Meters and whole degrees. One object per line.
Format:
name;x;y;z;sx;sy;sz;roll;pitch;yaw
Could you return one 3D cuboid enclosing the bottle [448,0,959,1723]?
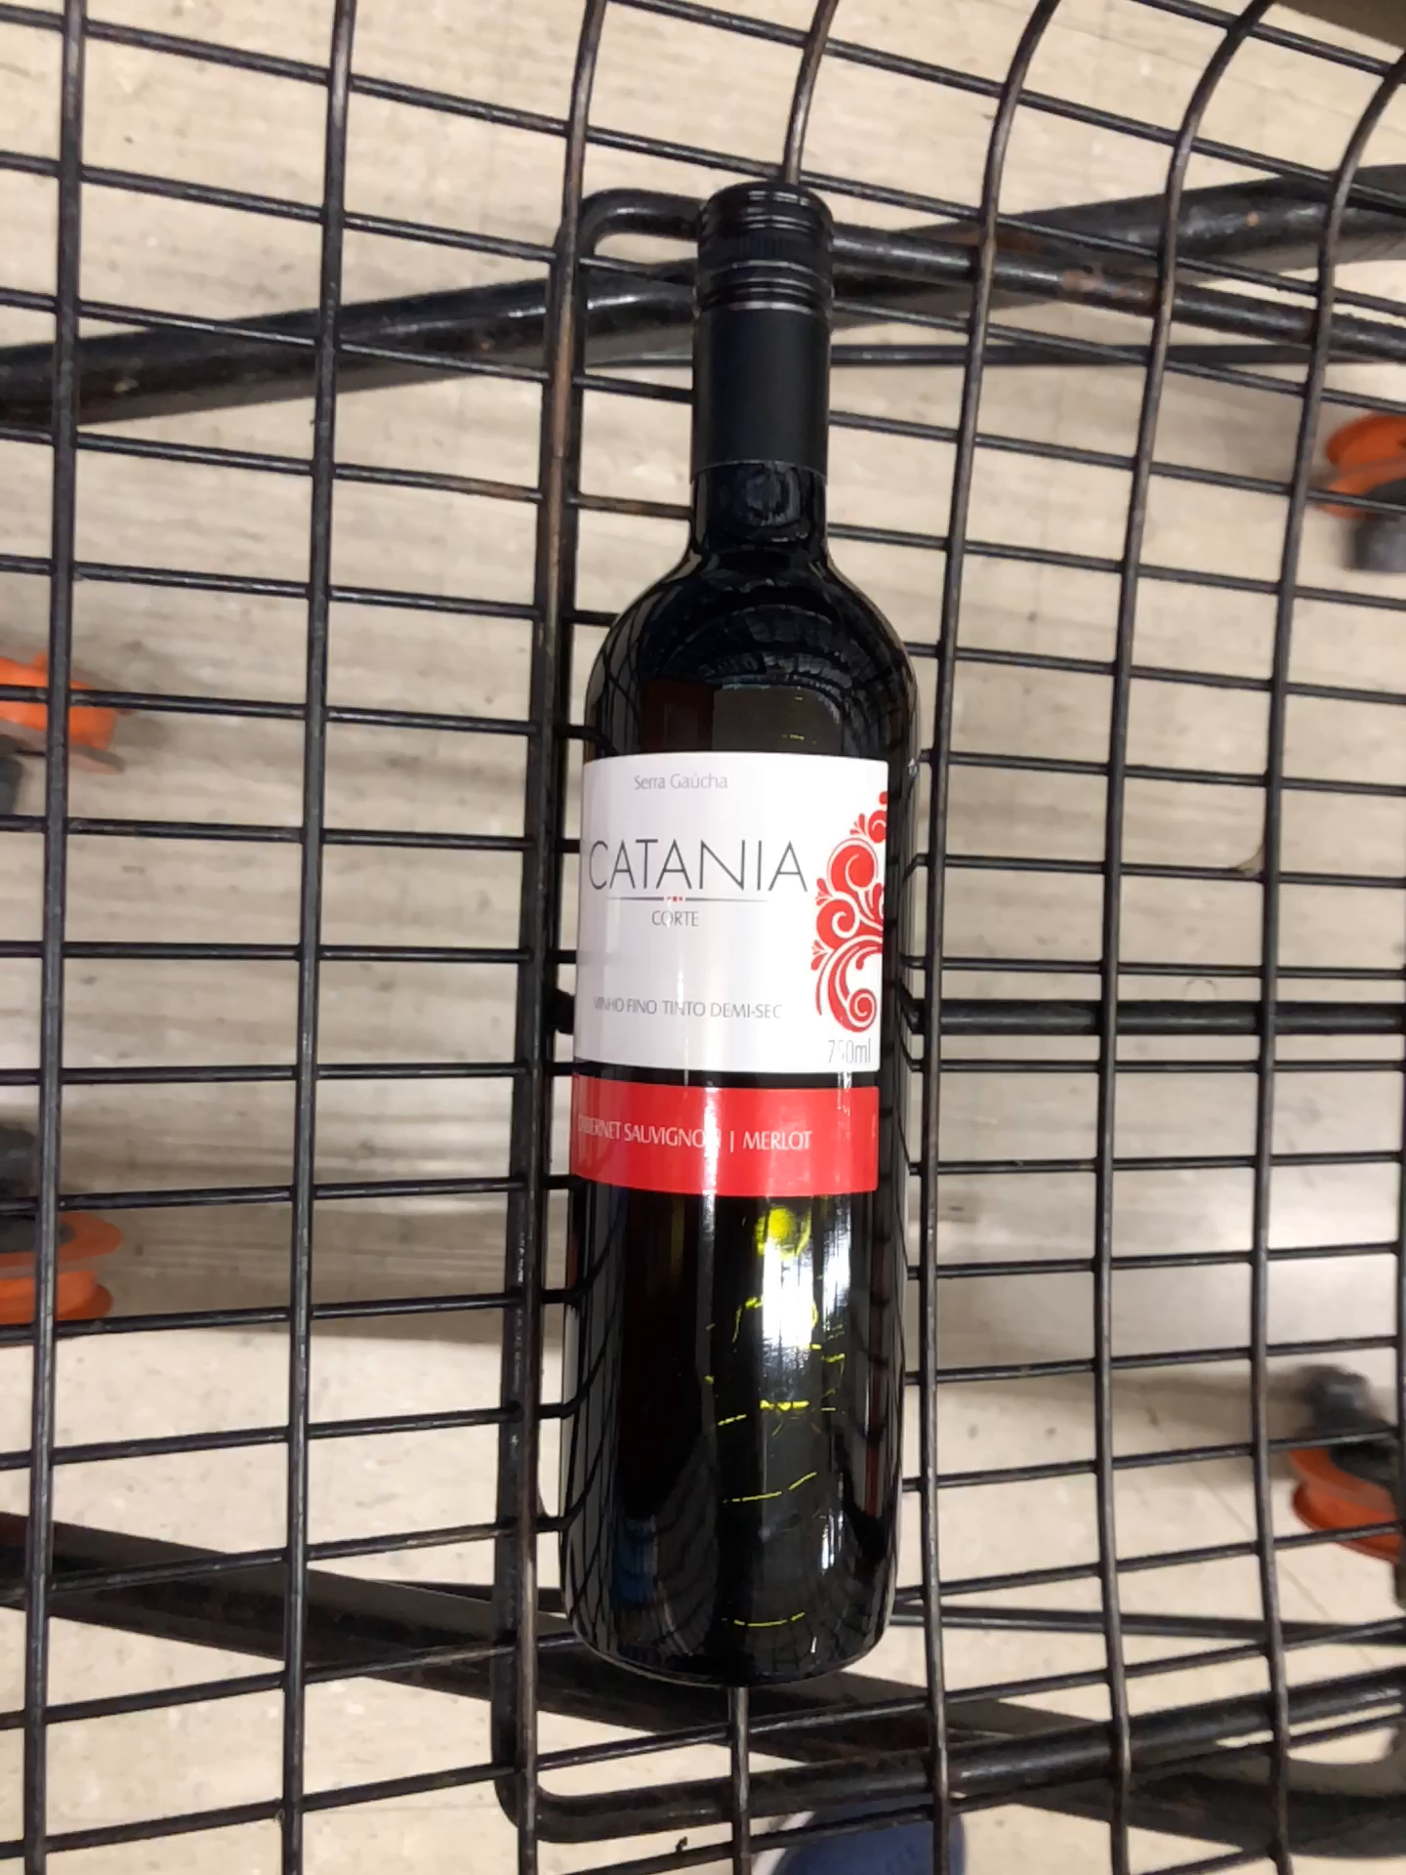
bottle;0.002;-0.013;0.320;0.080;0.070;0.300;1;91;25
